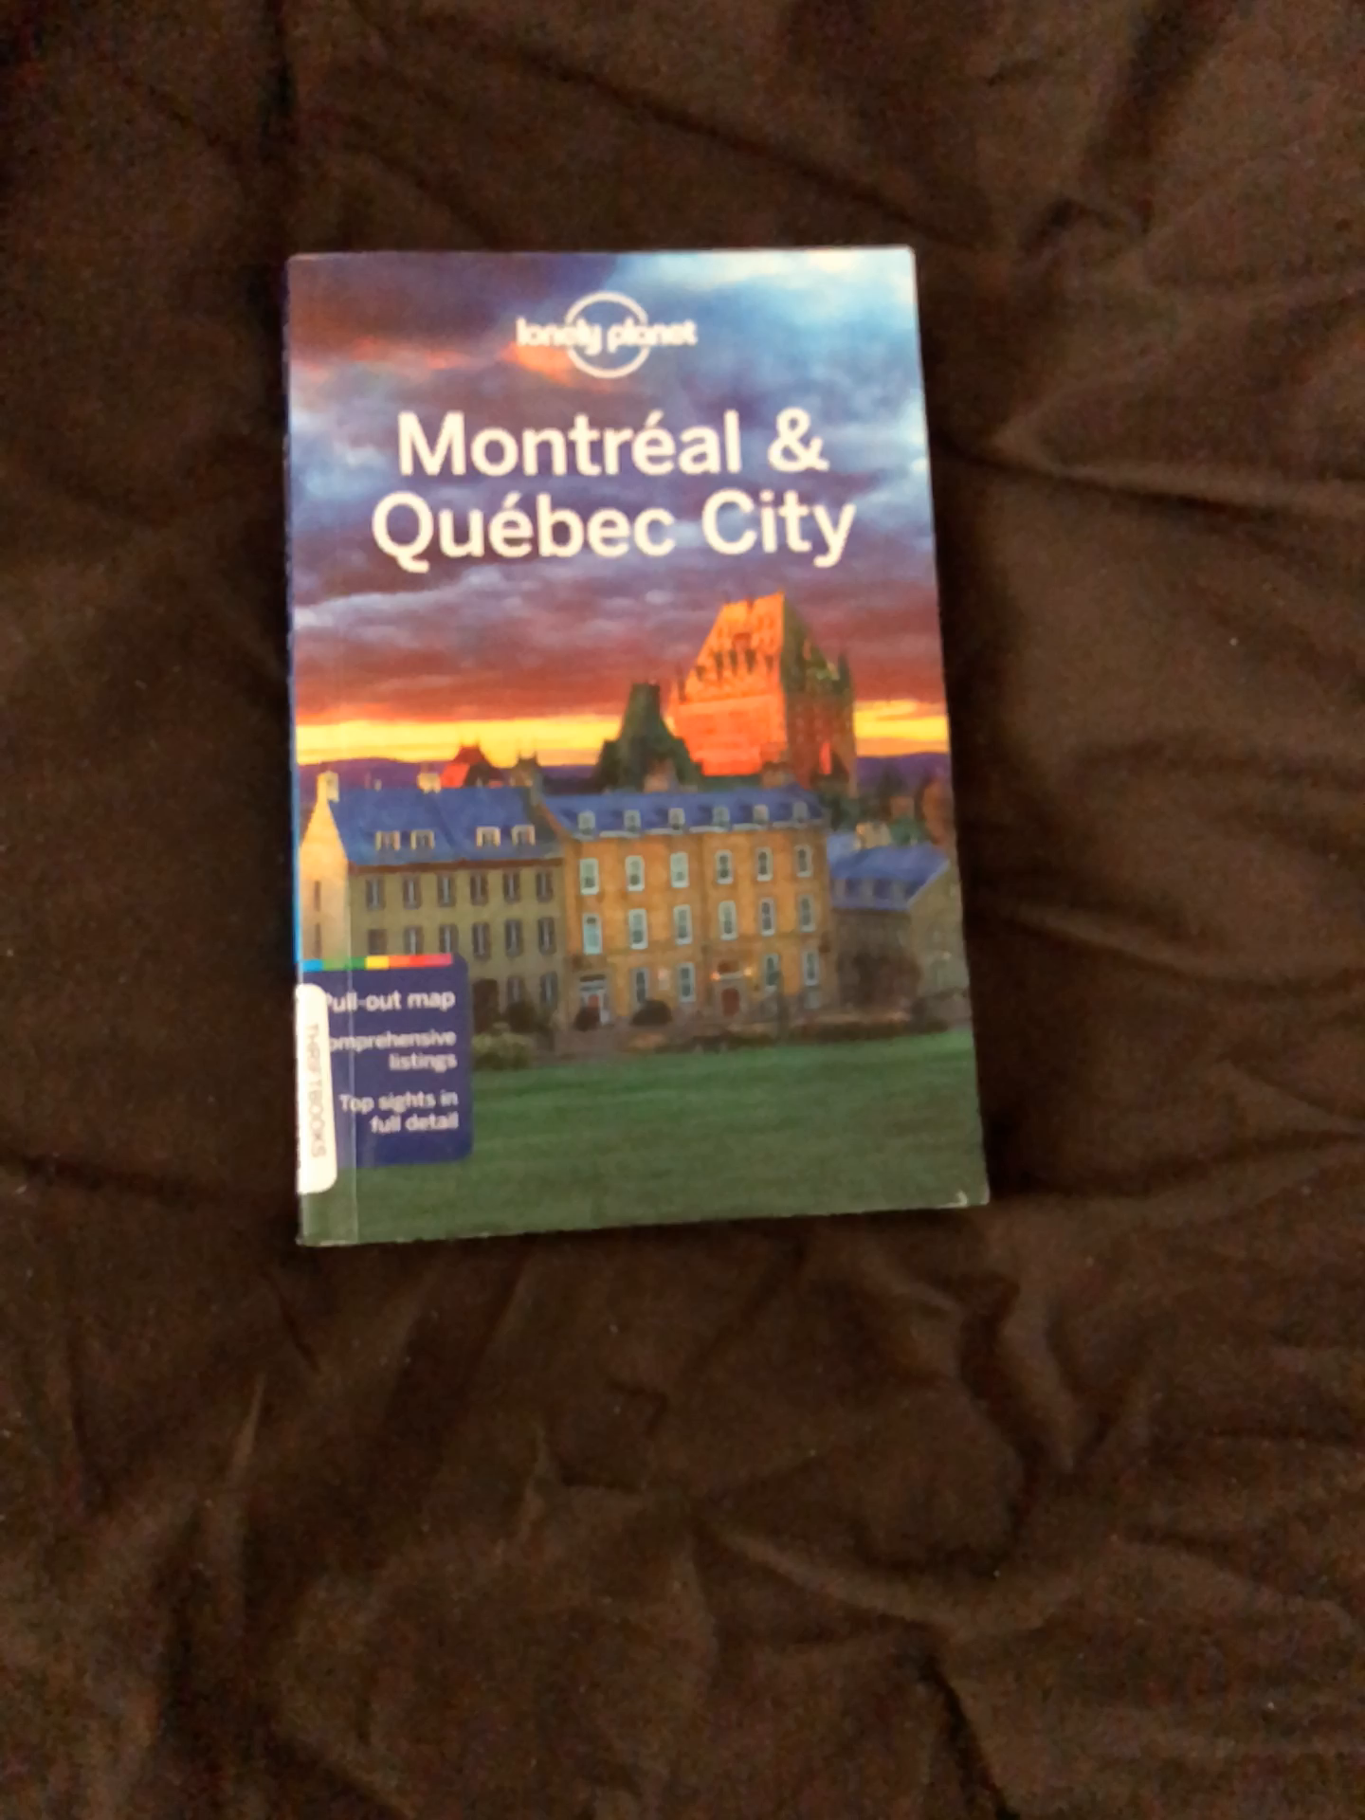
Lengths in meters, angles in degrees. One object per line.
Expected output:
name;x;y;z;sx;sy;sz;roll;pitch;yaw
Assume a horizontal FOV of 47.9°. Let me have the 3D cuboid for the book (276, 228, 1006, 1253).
book;-0.011;-0.038;0.319;0.137;0.024;0.205;-2;83;-3
